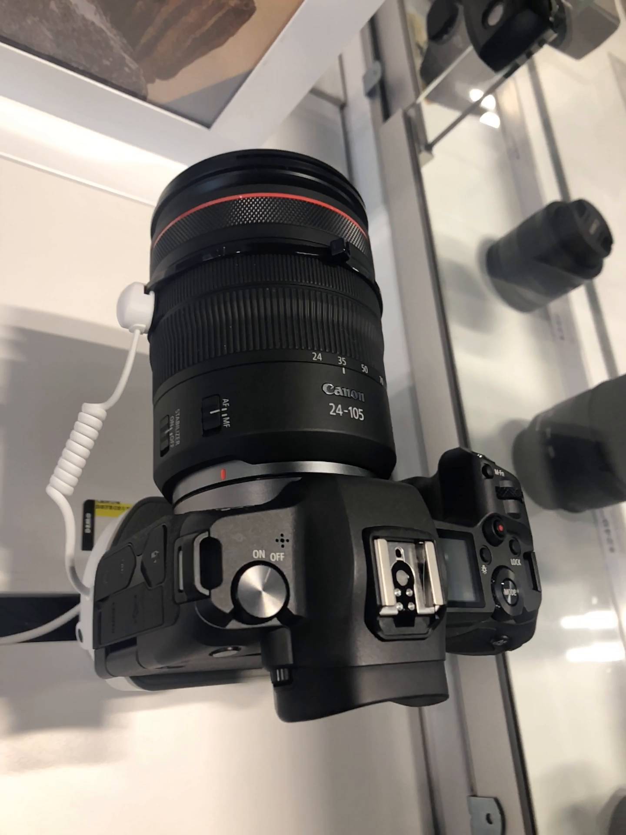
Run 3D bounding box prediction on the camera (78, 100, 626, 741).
[{"bbox_3d":[0.011,0.012,0.219,0.139,0.086,0.145,8,65,-35],"label":"camera"}]
